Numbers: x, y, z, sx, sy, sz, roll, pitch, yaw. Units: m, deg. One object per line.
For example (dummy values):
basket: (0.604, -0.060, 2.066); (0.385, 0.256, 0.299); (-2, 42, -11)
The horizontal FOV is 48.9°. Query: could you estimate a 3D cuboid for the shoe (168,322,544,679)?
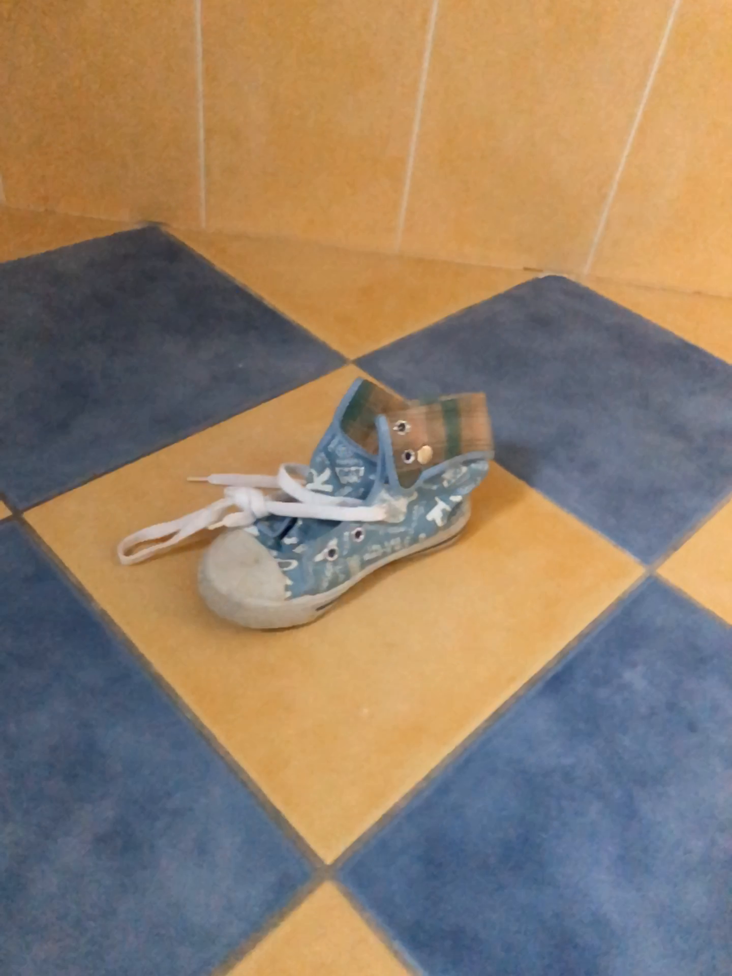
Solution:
shoe: (-0.004, 0.000, 0.476); (0.201, 0.119, 0.080); (-27, 53, -33)
